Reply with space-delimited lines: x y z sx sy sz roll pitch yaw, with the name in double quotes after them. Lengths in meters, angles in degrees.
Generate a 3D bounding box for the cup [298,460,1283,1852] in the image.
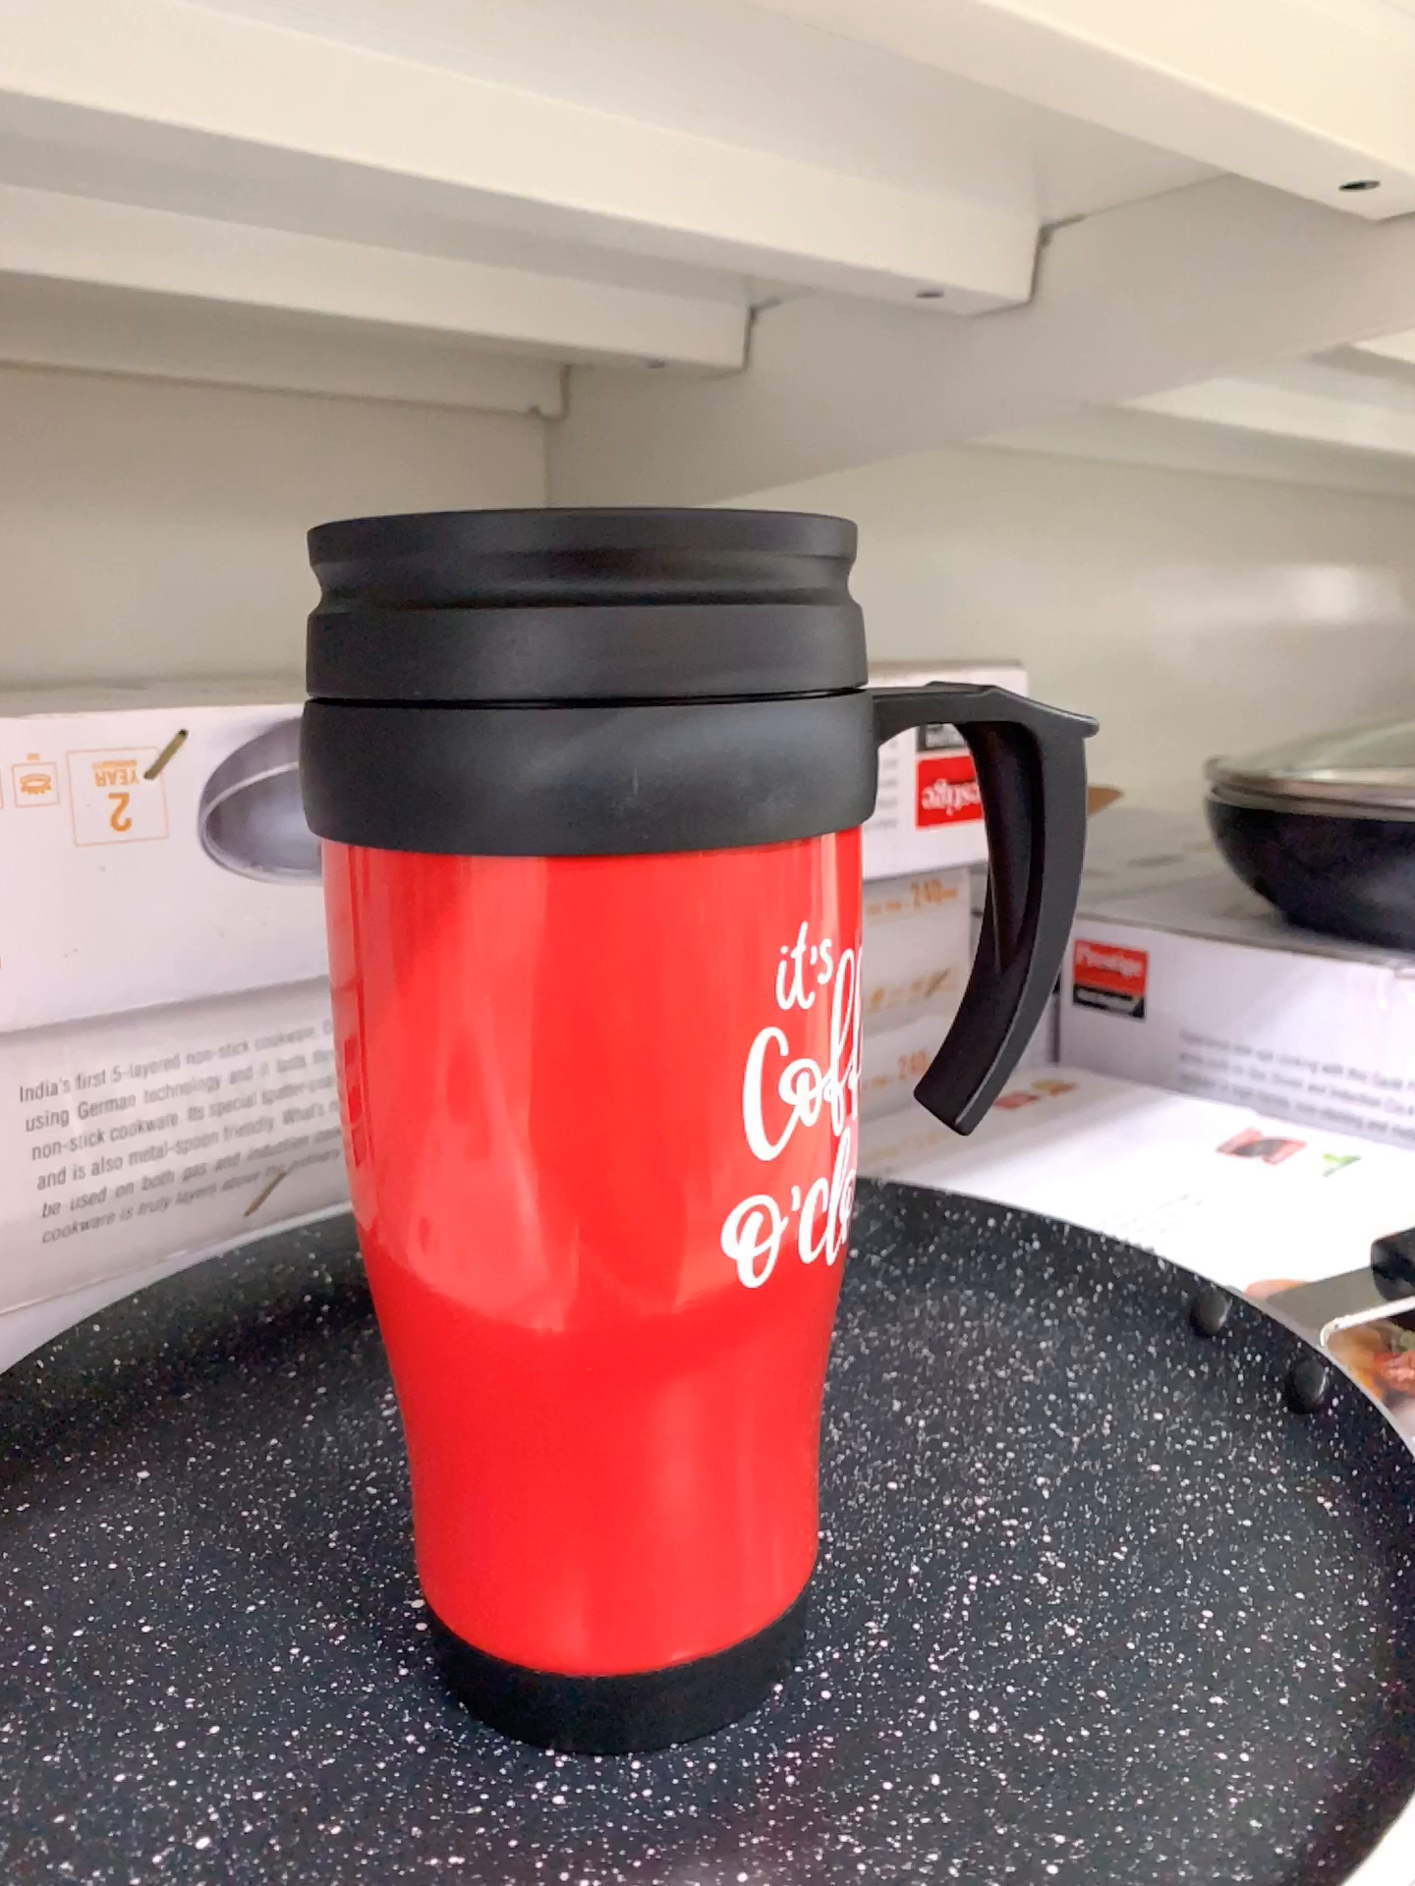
0.007 0.018 0.234 0.120 0.169 0.090 -5 11 -20 "cup"
